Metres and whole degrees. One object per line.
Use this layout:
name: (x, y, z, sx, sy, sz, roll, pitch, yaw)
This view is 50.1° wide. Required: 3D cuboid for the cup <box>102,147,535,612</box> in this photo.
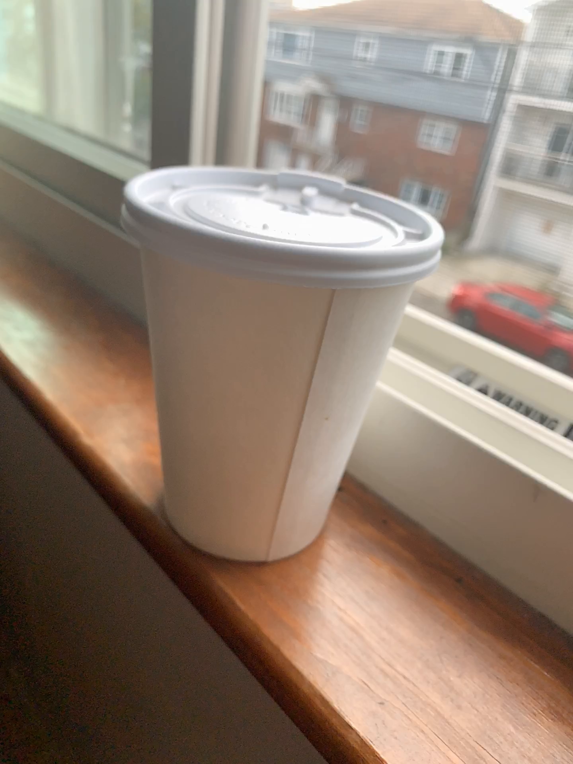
cup: (-0.004, -0.009, 0.189, 0.090, 0.099, 0.091, 6, 28, -3)
